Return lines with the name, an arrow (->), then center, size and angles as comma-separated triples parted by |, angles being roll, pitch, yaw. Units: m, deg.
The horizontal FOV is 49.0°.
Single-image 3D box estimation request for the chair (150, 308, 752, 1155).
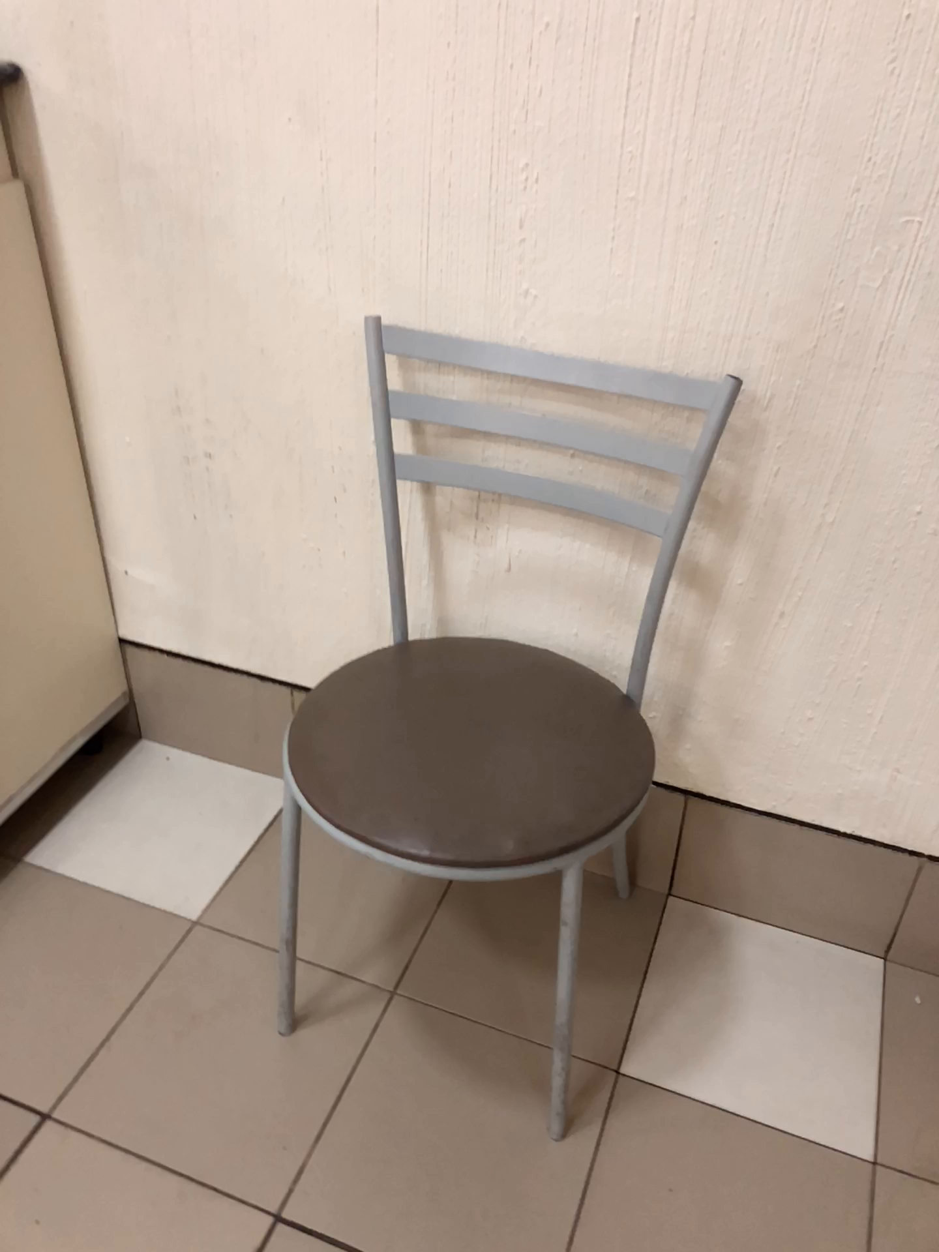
chair -> 0.004, 0.113, 1.154 | 0.430, 0.764, 0.423 | 13, 35, 16
